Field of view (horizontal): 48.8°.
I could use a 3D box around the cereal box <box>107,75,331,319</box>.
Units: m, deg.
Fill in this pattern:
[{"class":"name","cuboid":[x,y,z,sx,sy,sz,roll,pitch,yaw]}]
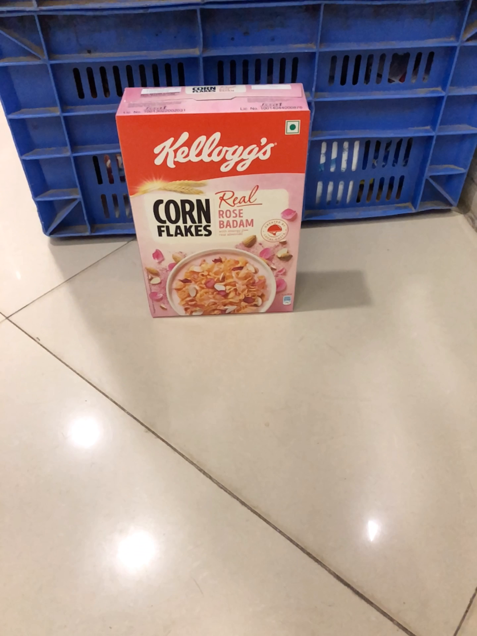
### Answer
[{"class":"cereal box","cuboid":[-0.017,-0.121,0.586,0.200,0.258,0.071,-3,45,-2]}]
